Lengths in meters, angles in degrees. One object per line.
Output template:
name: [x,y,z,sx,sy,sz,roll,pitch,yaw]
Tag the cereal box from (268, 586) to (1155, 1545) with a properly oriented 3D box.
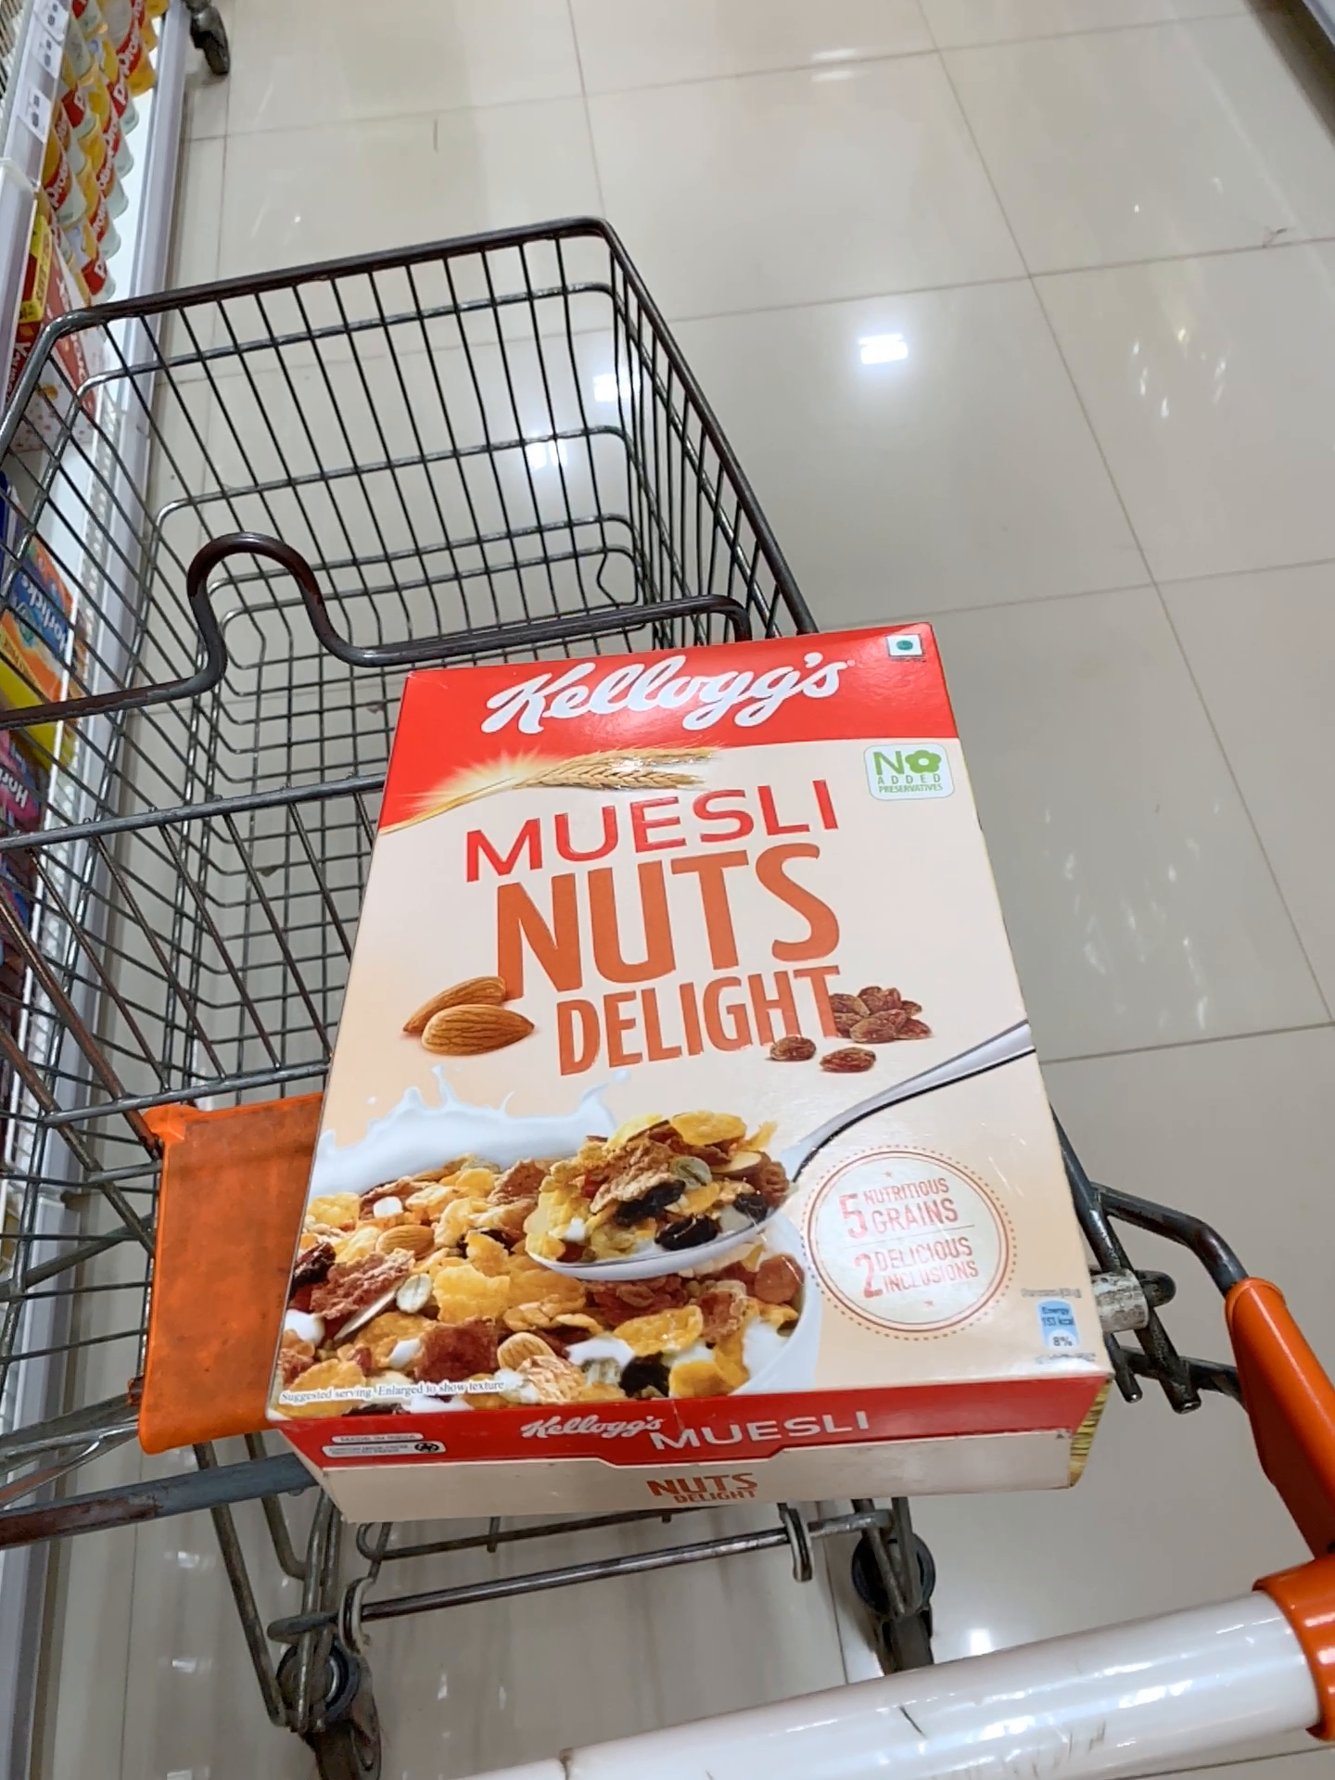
cereal box: [0.006,0.034,0.410,0.190,0.080,0.272,-5,50,2]
